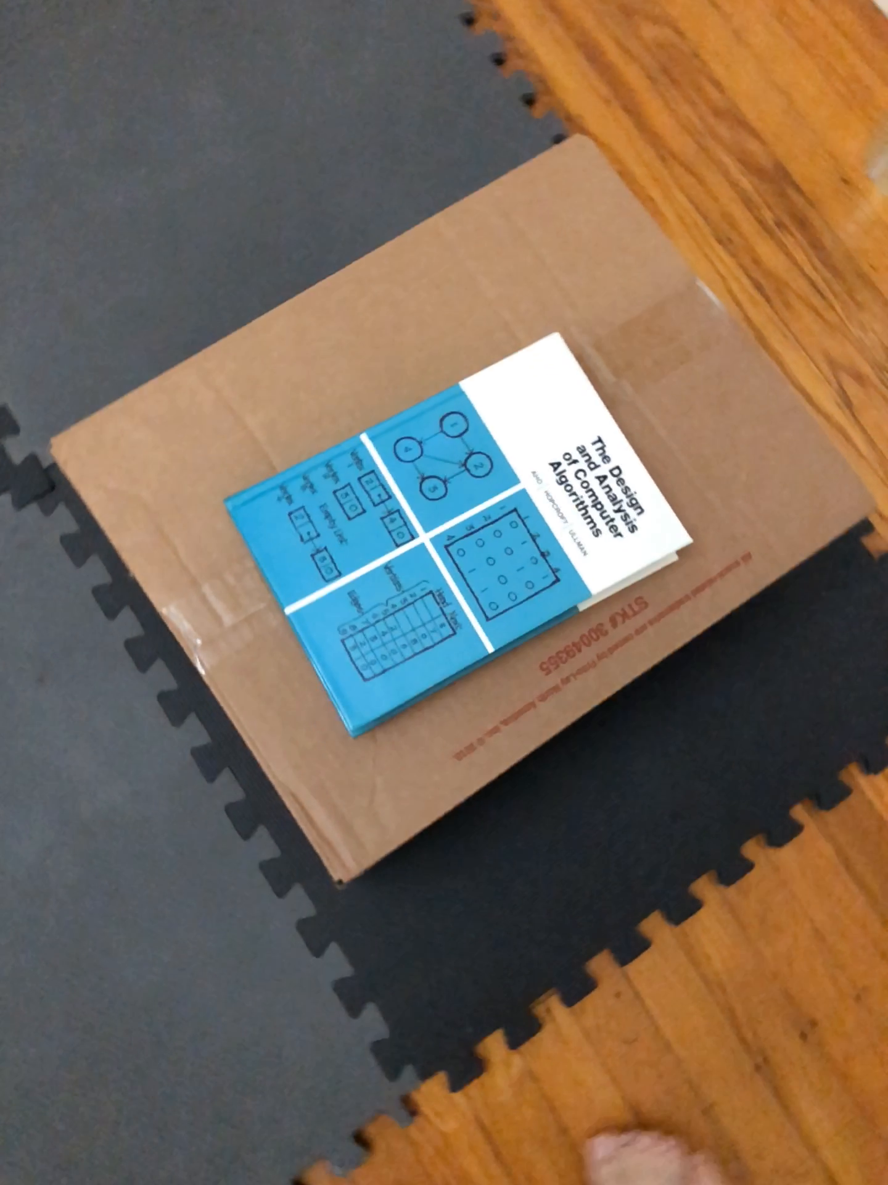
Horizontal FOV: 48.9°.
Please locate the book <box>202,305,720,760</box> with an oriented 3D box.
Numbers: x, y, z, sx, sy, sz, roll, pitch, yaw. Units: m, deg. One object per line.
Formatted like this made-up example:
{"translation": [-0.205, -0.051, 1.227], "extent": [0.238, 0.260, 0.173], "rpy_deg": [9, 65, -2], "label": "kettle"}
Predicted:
{"translation": [0.011, -0.043, 0.621], "extent": [0.260, 0.040, 0.190], "rpy_deg": [-28, 79, -10], "label": "book"}
